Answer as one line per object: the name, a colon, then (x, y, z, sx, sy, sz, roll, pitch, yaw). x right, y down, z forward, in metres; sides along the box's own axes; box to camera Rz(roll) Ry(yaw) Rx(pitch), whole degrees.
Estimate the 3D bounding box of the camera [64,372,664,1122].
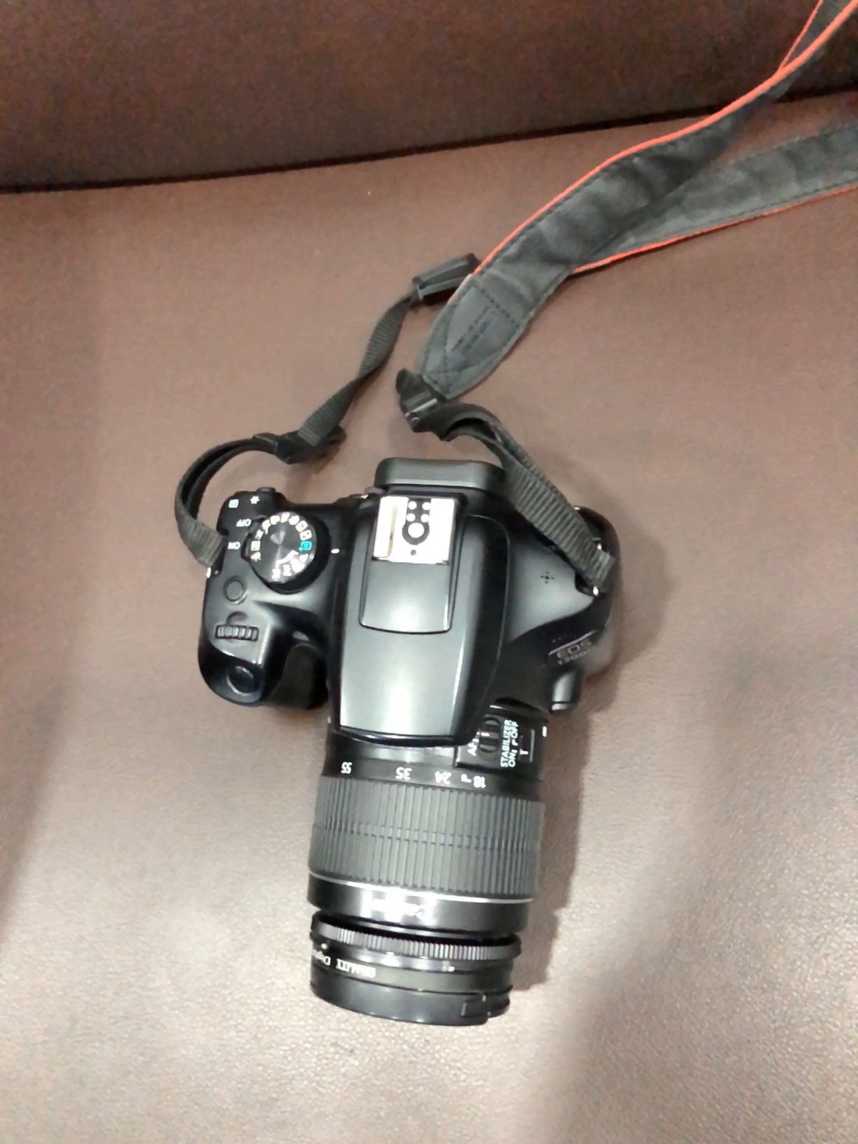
camera: (-0.005, 0.041, 0.275, 0.130, 0.090, 0.170, 3, 74, 12)
